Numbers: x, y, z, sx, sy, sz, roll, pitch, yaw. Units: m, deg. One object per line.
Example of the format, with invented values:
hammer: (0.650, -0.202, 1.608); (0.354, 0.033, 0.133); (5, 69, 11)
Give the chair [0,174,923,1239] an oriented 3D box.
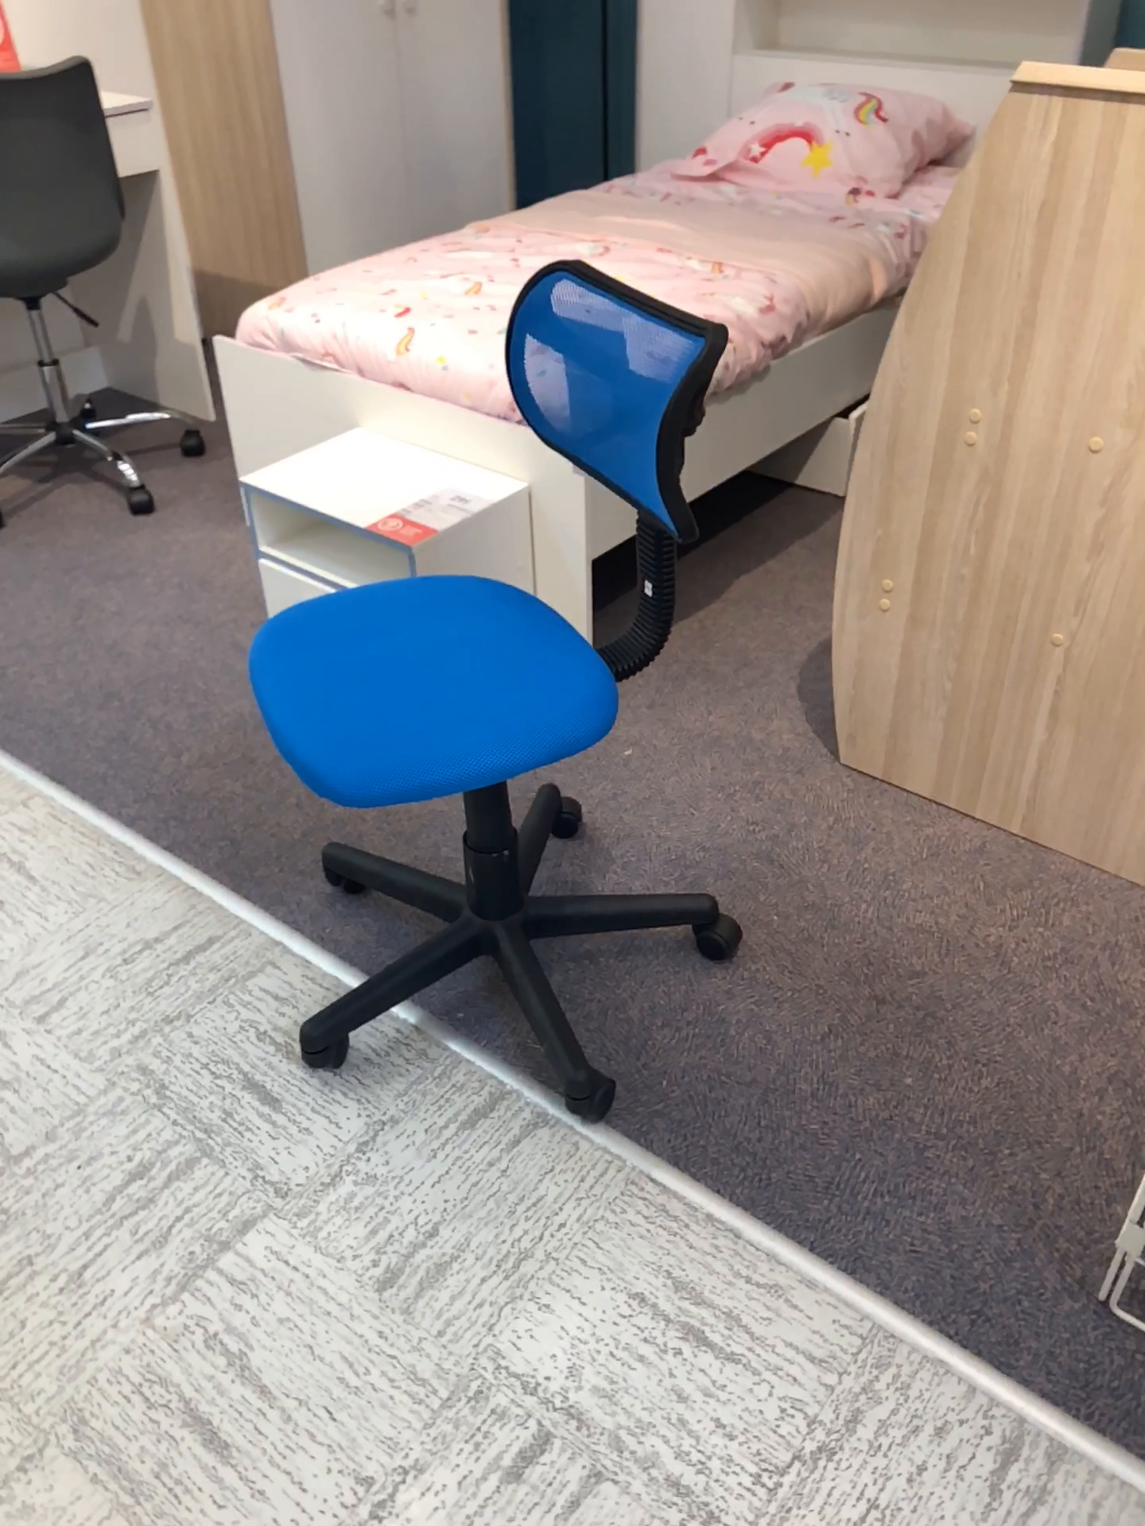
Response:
chair: (-0.137, -0.116, 1.364); (0.612, 0.795, 0.662); (-21, 40, -25)
